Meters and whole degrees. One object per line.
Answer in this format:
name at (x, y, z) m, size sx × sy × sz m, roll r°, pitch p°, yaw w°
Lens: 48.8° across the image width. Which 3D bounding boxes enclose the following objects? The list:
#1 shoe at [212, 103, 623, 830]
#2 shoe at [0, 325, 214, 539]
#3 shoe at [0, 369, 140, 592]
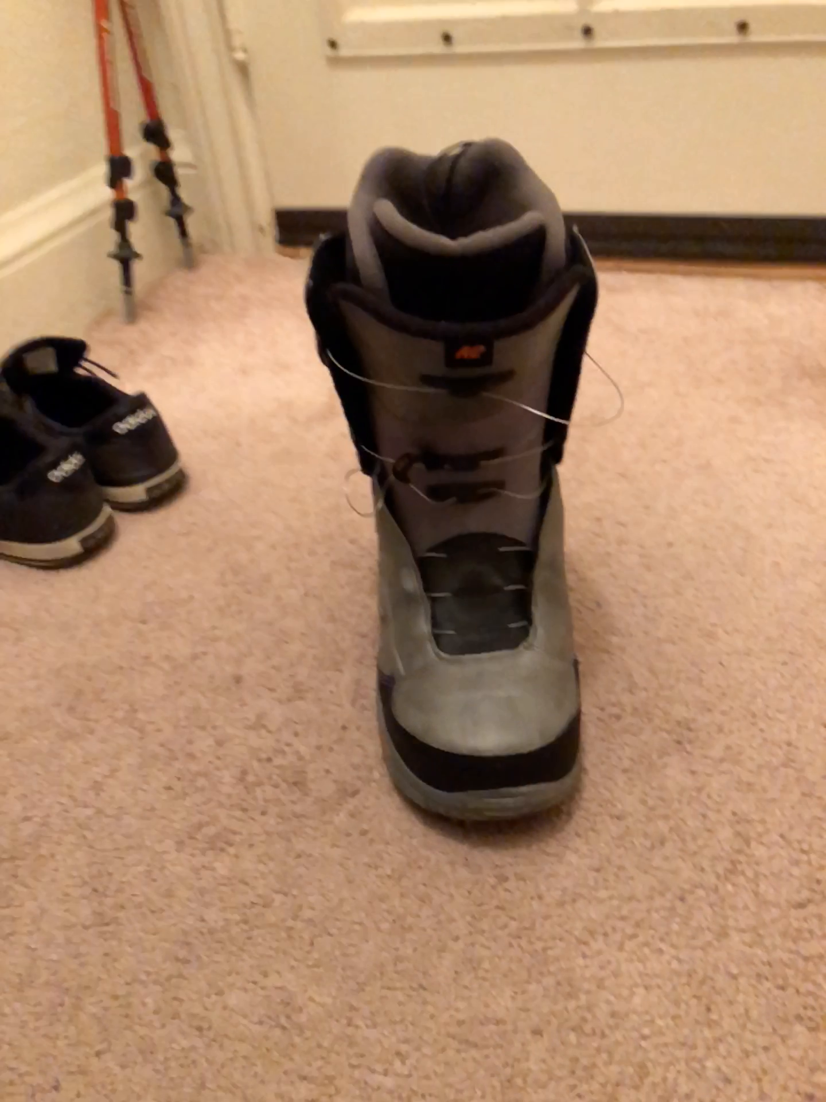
shoe at (0.021, -0.051, 0.496) m, size 0.137 × 0.281 × 0.275 m, roll -3°, pitch 39°, yaw 6°
shoe at (-0.350, -0.117, 0.839) m, size 0.303 × 0.116 × 0.108 m, roll 12°, pitch 38°, yaw 23°
shoe at (-0.374, -0.062, 0.729) m, size 0.283 × 0.107 × 0.088 m, roll 11°, pitch 42°, yaw 21°
